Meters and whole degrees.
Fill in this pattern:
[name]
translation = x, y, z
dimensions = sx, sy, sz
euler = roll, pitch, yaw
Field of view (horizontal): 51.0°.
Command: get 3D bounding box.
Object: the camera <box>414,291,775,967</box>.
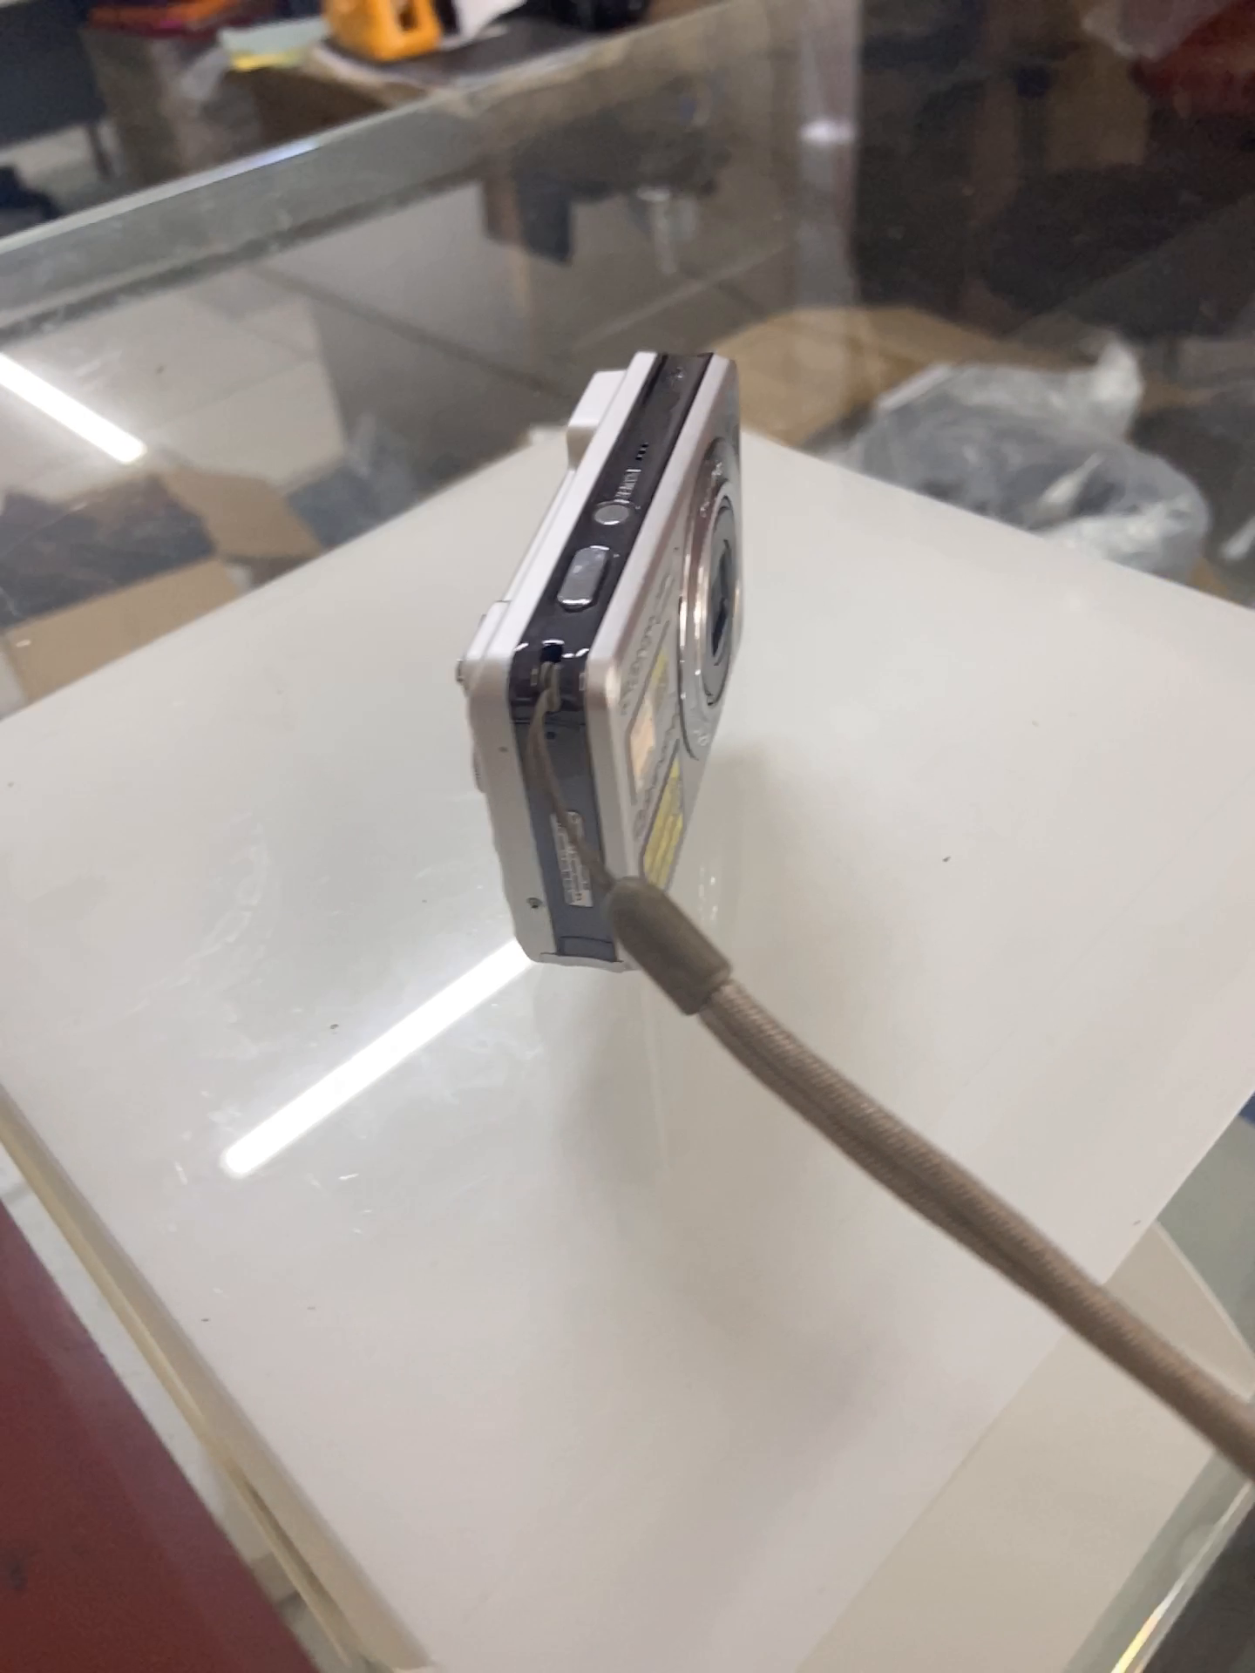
[camera]
translation = 0.002, -0.035, 0.201
dimensions = 0.030, 0.060, 0.091
euler = 5, 45, 12
